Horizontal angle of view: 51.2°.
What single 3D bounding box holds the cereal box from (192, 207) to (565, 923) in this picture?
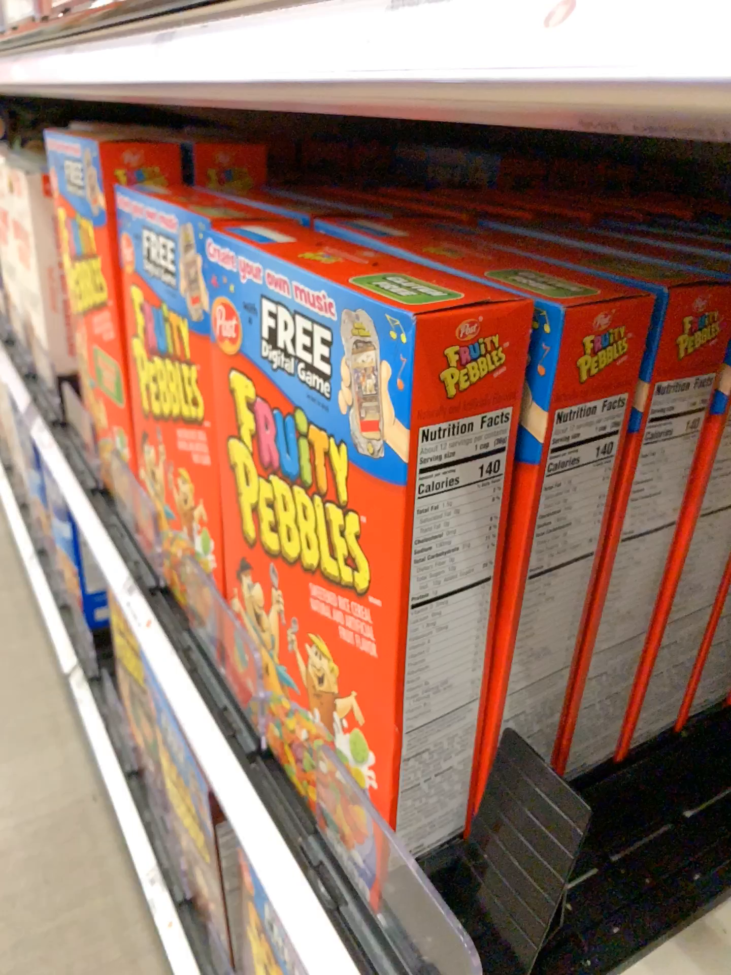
[{"bbox_3d":[-0.015,0.026,0.381,0.060,0.289,0.201,-13,30,-28],"label":"cereal box"}]
